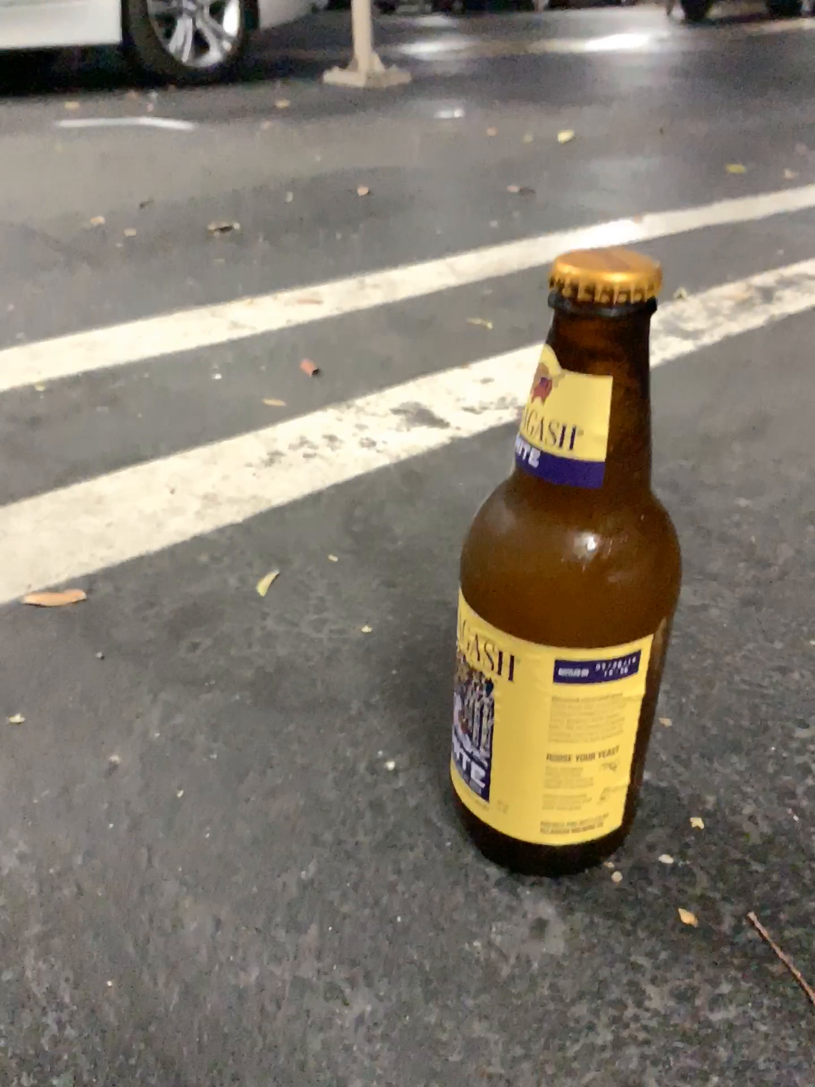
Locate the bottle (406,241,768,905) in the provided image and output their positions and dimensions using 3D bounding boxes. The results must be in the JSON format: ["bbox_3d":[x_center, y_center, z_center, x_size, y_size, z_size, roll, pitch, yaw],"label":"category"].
[{"bbox_3d":[0.044,0.014,0.285,0.070,0.190,0.070,-1,31,1],"label":"bottle"}]
